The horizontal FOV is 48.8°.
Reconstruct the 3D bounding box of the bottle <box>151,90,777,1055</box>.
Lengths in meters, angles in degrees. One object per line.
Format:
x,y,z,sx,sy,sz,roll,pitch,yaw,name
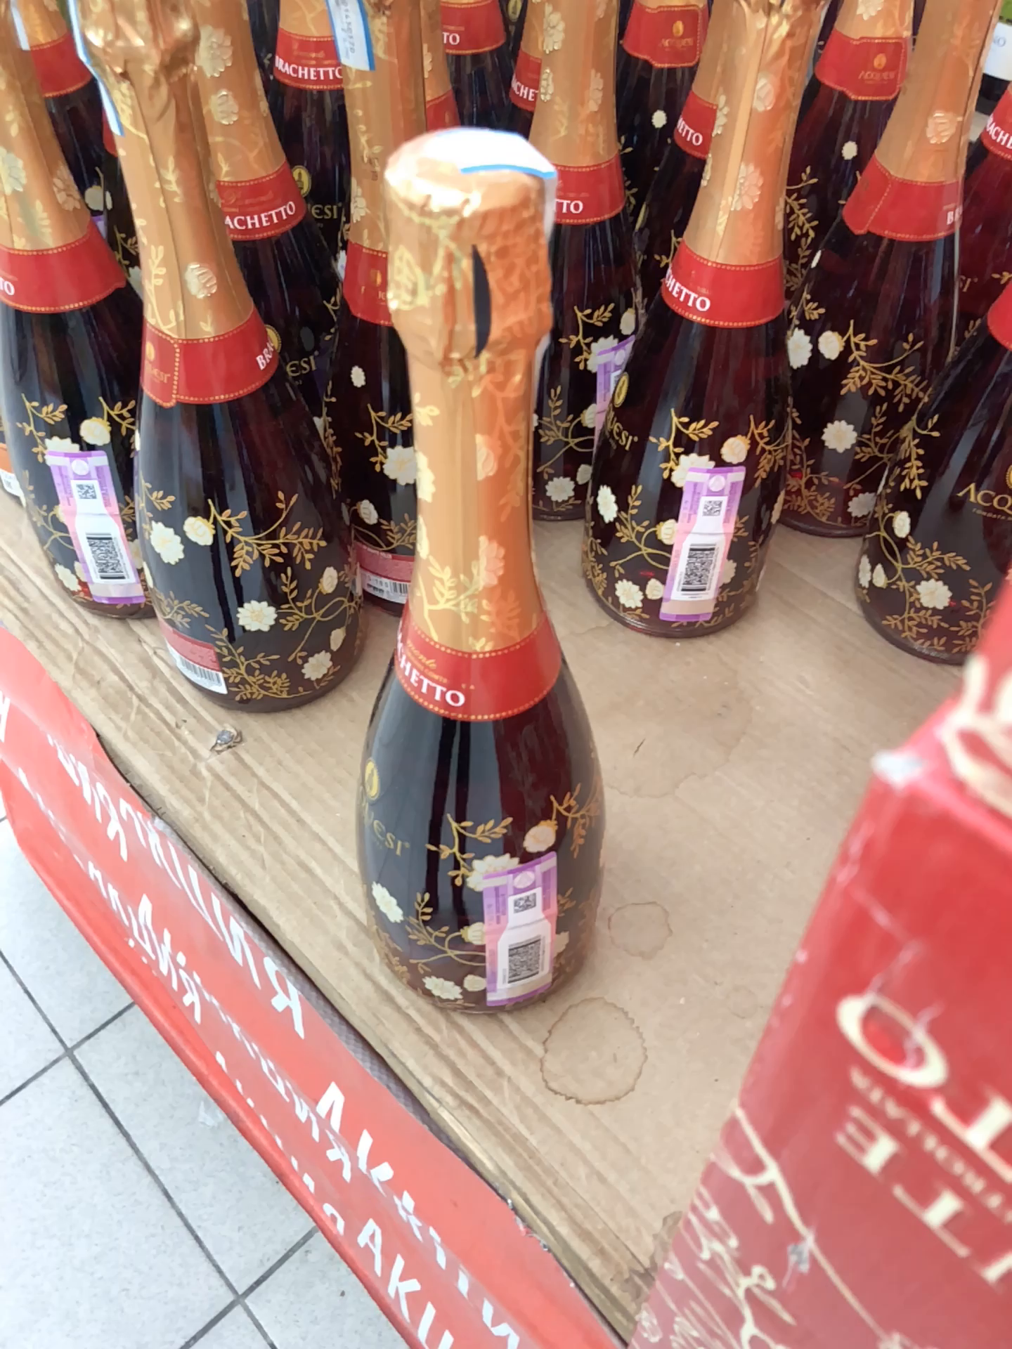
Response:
-0.014,-0.004,0.339,0.100,0.279,0.100,0,49,0,bottle
